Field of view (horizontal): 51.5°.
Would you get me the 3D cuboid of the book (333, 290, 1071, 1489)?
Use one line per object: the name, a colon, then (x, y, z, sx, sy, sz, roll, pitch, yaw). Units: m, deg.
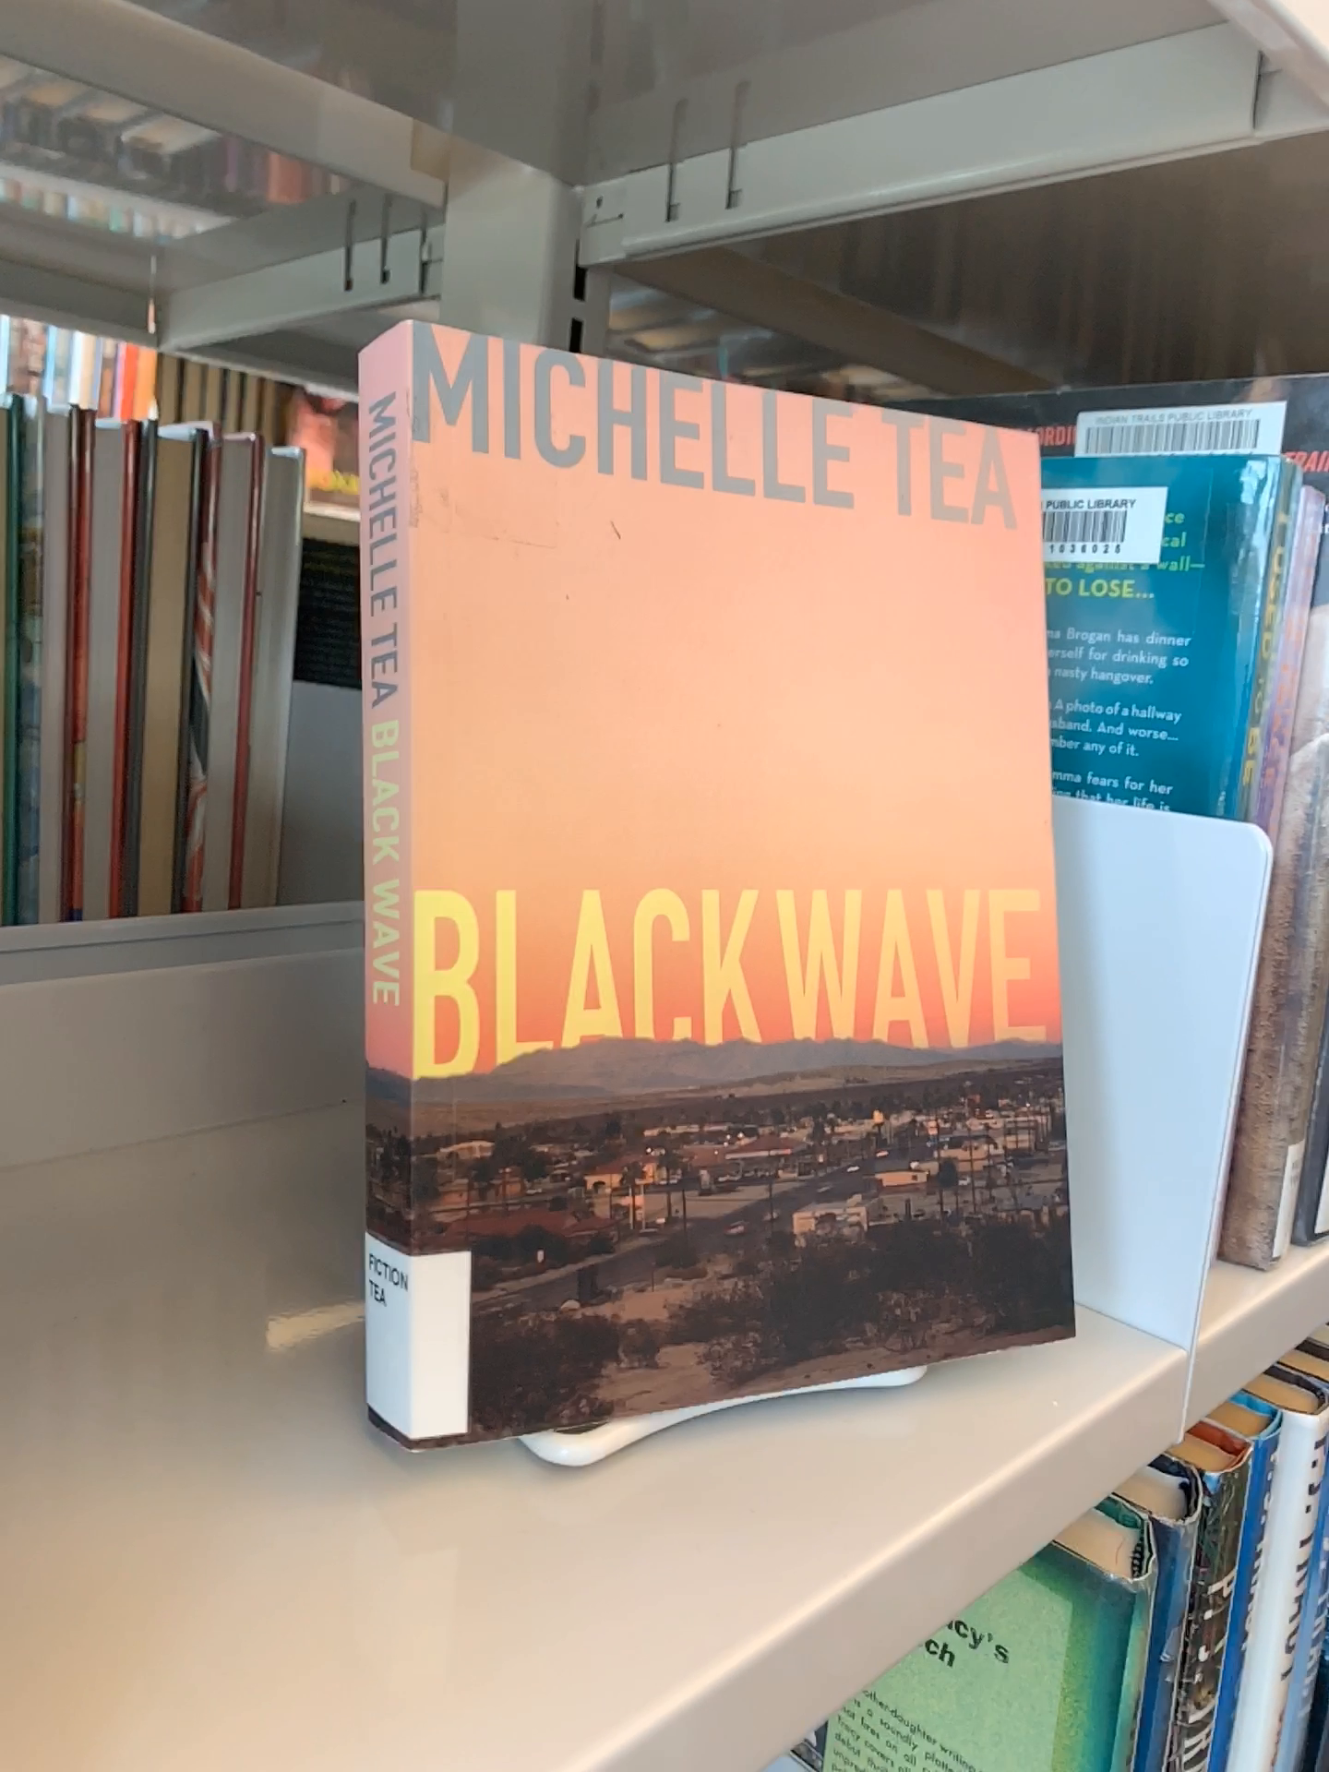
book: (0.012, 0.000, 0.278, 0.147, 0.201, 0.036, 1, -2, -25)
